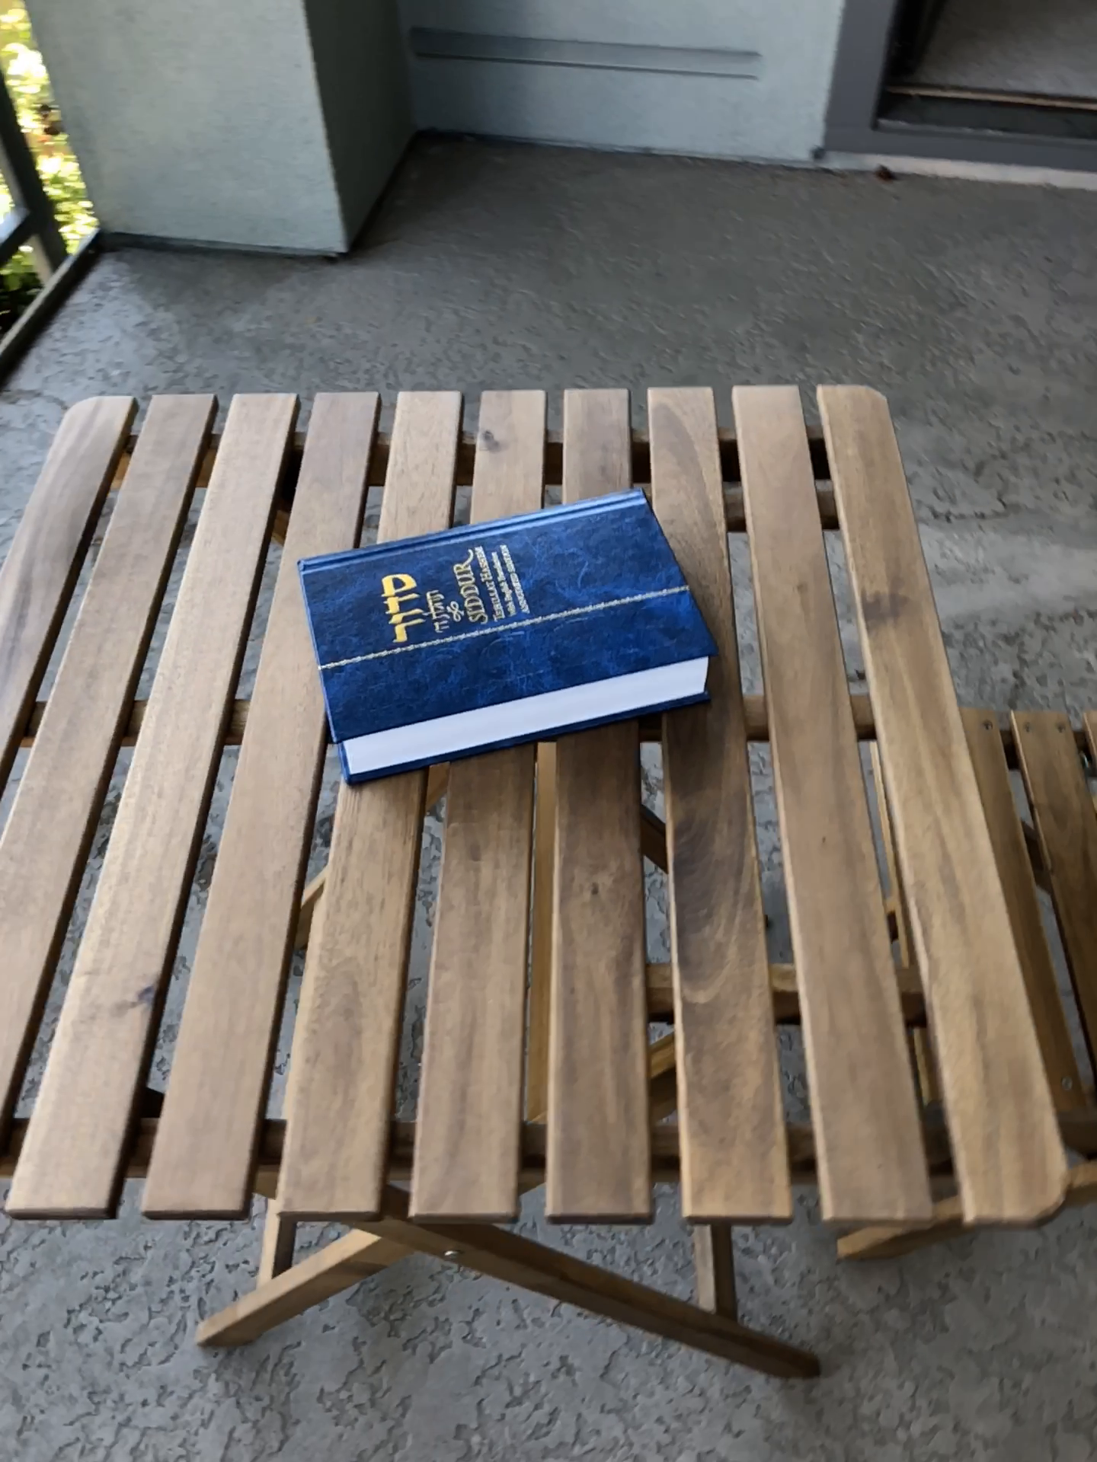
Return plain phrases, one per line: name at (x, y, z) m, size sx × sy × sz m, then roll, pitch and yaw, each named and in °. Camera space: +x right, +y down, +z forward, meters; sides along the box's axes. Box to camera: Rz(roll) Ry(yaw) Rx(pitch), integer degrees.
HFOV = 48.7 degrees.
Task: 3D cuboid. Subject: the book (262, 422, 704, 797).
book at (-0.047, -0.083, 0.761) m, size 0.230 × 0.070 × 0.201 m, roll -12°, pitch 53°, yaw -8°
